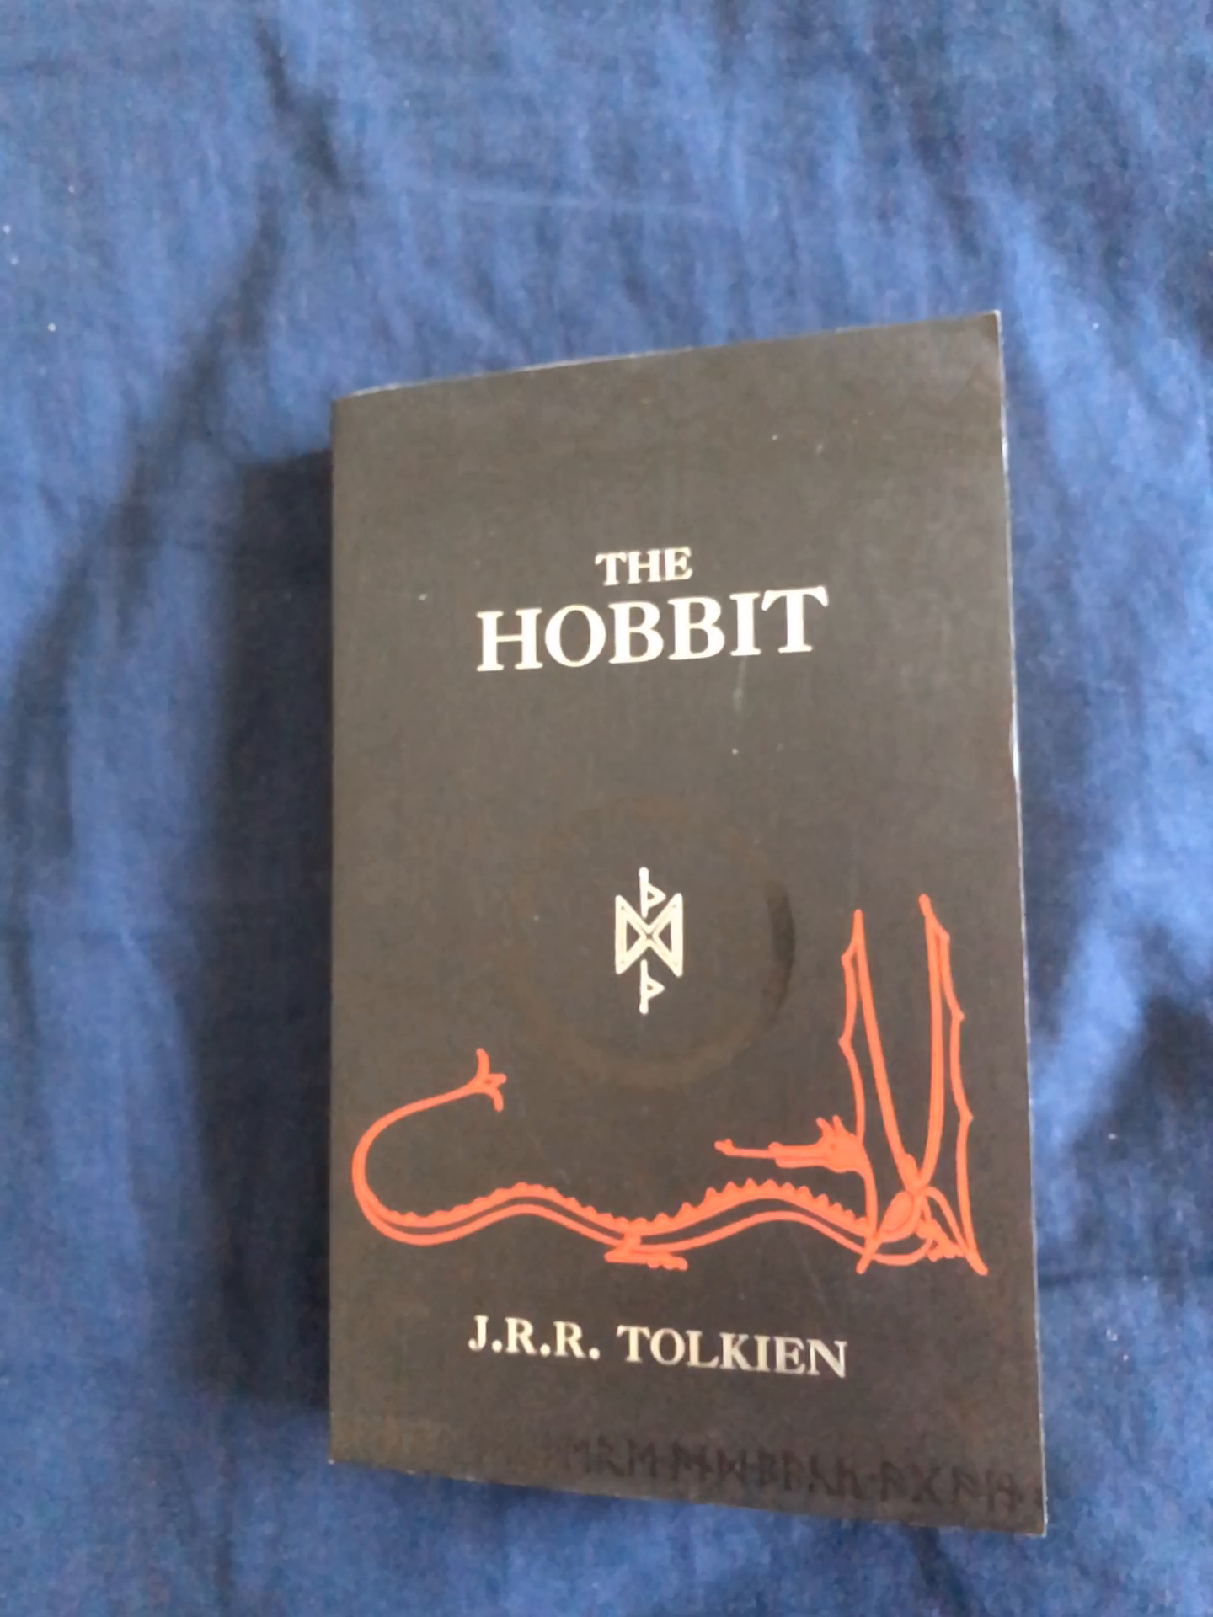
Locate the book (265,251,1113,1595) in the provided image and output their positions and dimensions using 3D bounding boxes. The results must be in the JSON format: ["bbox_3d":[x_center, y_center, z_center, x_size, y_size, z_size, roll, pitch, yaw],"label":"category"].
[{"bbox_3d":[0.011,0.015,0.217,0.120,0.040,0.180,-2,84,15],"label":"book"}]
